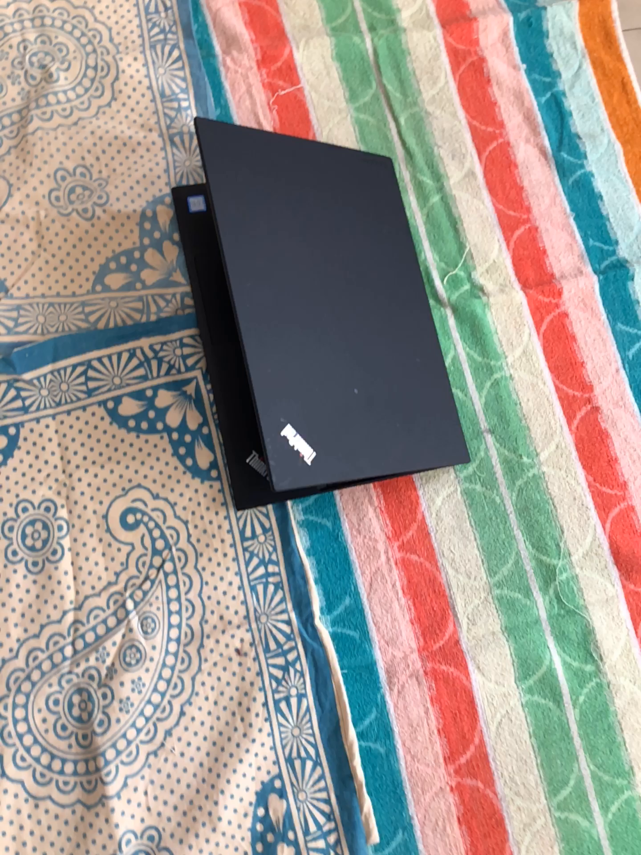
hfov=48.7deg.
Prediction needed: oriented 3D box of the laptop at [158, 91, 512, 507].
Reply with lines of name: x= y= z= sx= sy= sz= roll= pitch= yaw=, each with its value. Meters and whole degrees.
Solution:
laptop: x=0.006 y=-0.122 z=0.688 sx=0.243 sy=0.122 sz=0.345 roll=-11 pitch=81 yaw=-11
